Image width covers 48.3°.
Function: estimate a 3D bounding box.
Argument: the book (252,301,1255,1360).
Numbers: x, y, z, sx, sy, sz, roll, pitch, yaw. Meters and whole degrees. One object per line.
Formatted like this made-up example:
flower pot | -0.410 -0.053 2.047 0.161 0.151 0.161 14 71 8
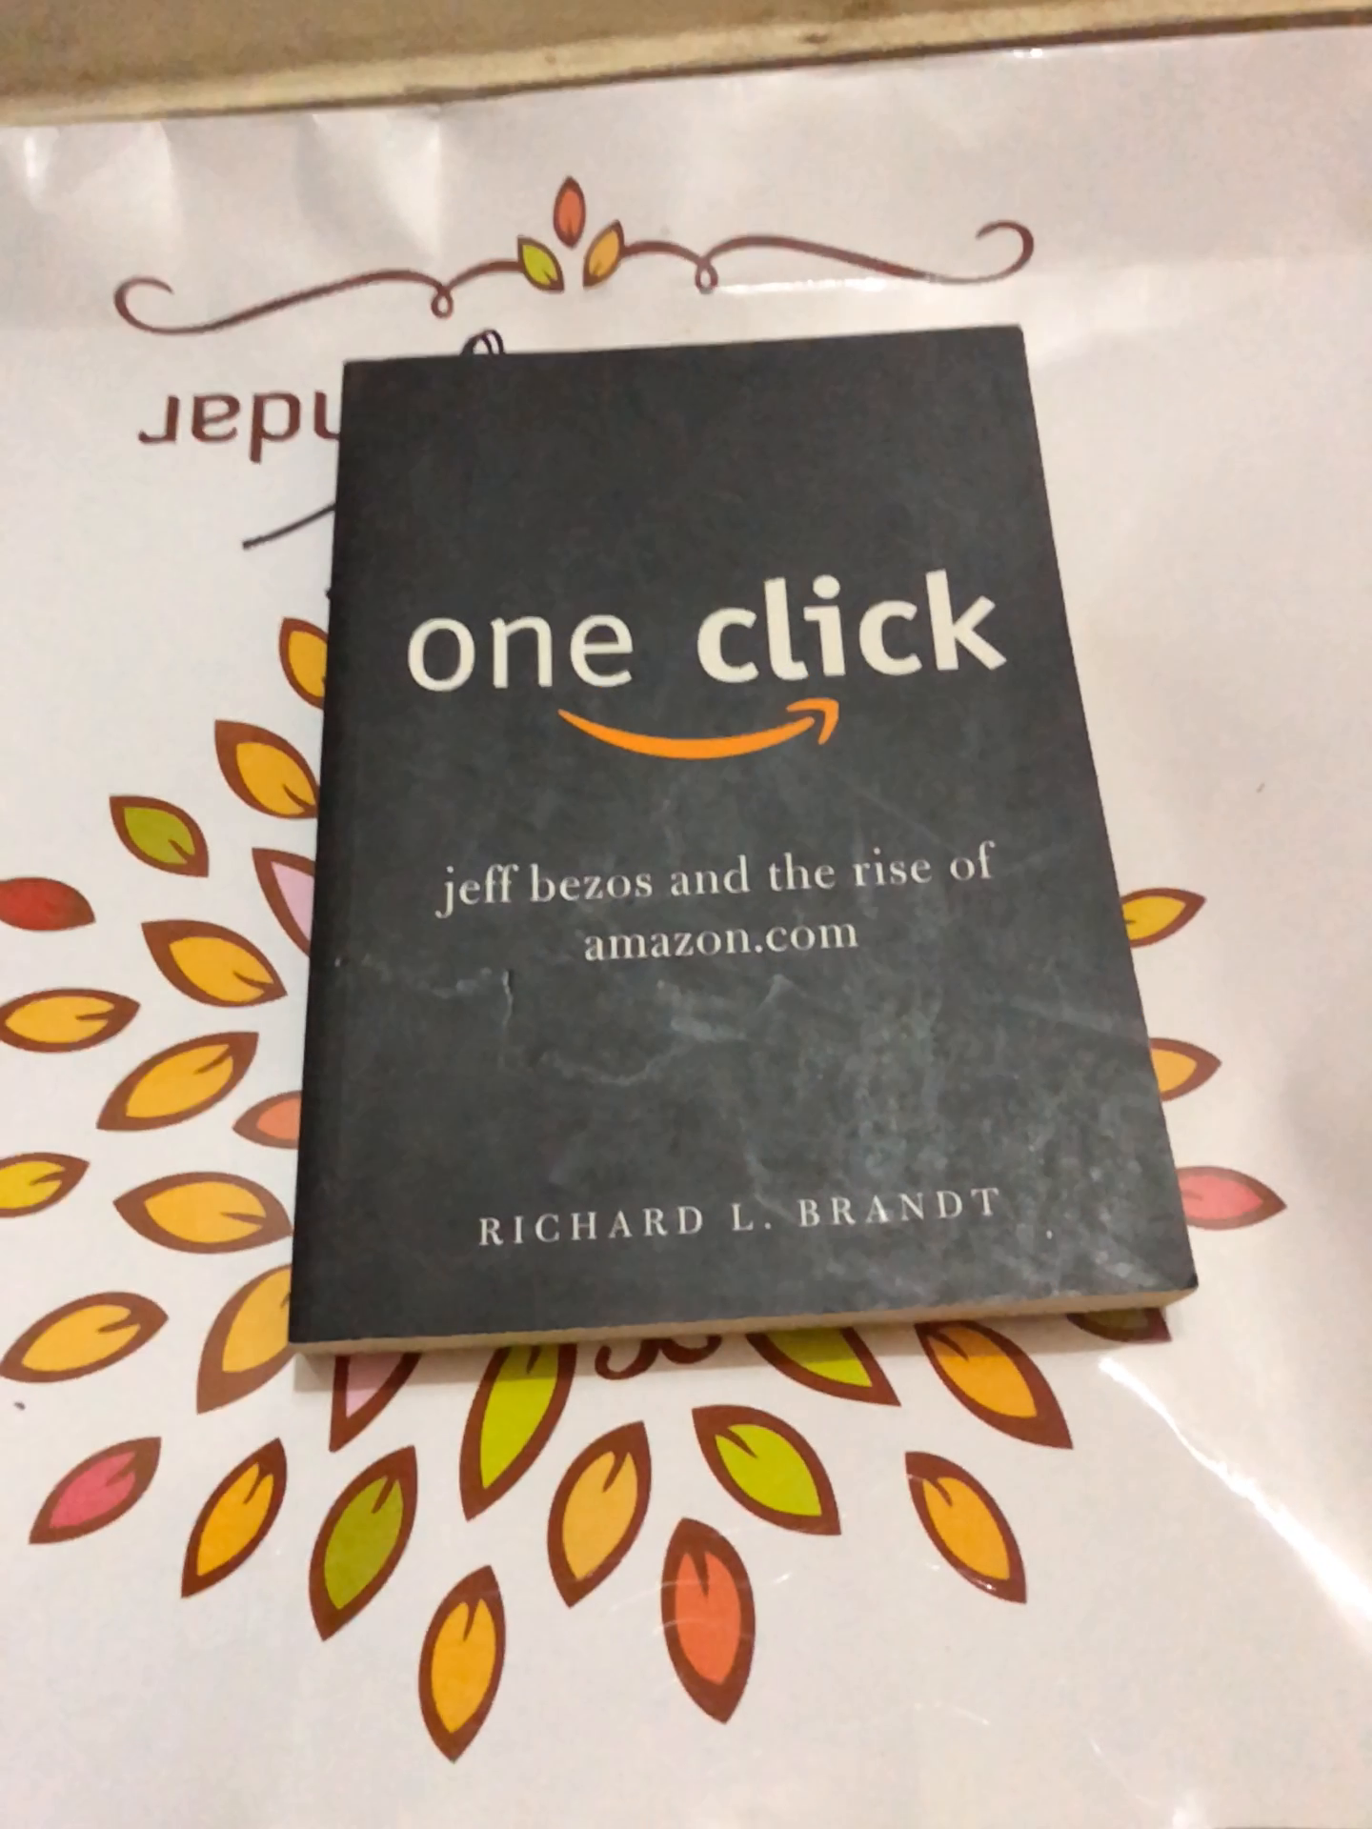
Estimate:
book | 0.007 -0.030 0.303 0.160 0.020 0.221 -3 63 3
